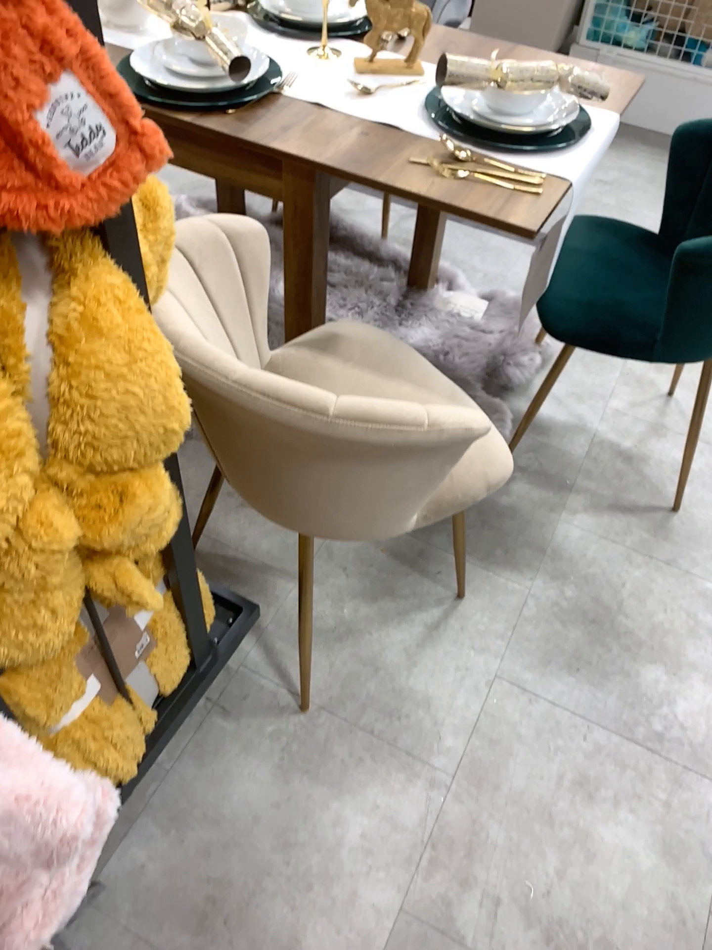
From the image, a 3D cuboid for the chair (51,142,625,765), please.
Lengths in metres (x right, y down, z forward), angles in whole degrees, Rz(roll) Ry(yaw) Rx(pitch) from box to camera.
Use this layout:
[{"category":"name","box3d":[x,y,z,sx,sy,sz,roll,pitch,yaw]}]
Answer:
[{"category":"chair","box3d":[-0.057,-0.034,1.232,0.537,0.722,0.563,-27,55,-26]}]
